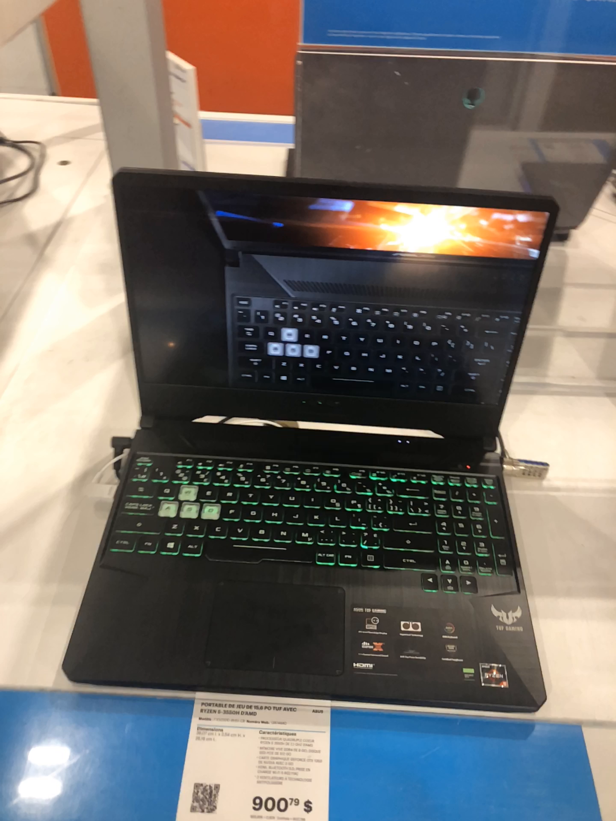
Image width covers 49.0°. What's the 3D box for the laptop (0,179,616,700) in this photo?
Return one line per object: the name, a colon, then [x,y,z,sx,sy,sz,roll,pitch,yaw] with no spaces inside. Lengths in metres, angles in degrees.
laptop: [0.010,0.013,0.521,0.350,0.235,0.302,3,45,1]
